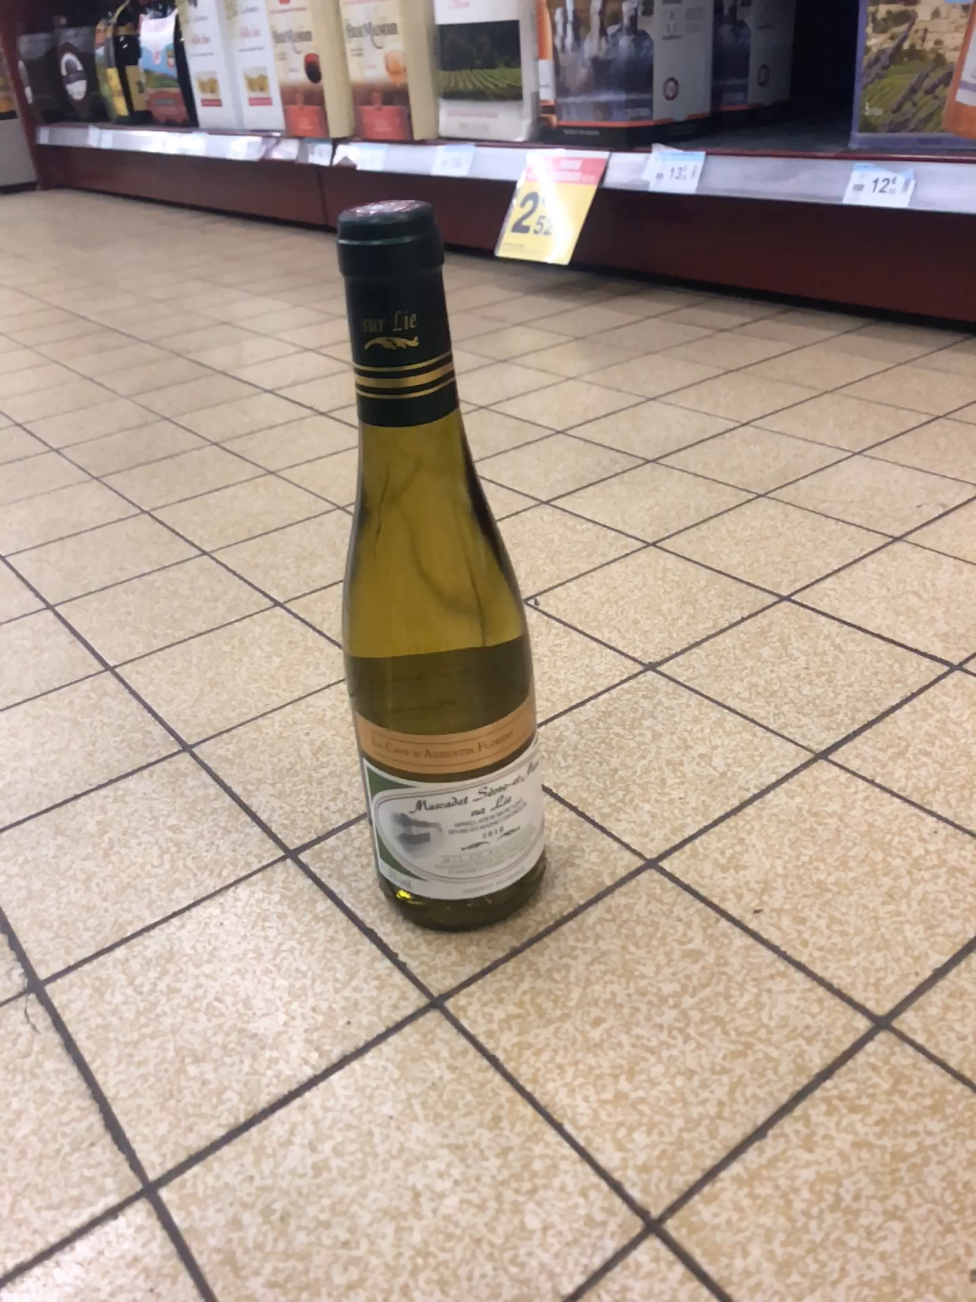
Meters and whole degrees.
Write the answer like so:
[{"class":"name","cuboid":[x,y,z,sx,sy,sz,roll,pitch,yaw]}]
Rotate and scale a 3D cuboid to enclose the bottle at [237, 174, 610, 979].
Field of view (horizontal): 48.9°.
[{"class":"bottle","cuboid":[-0.015,-0.019,0.351,0.080,0.239,0.080,-4,29,2]}]
